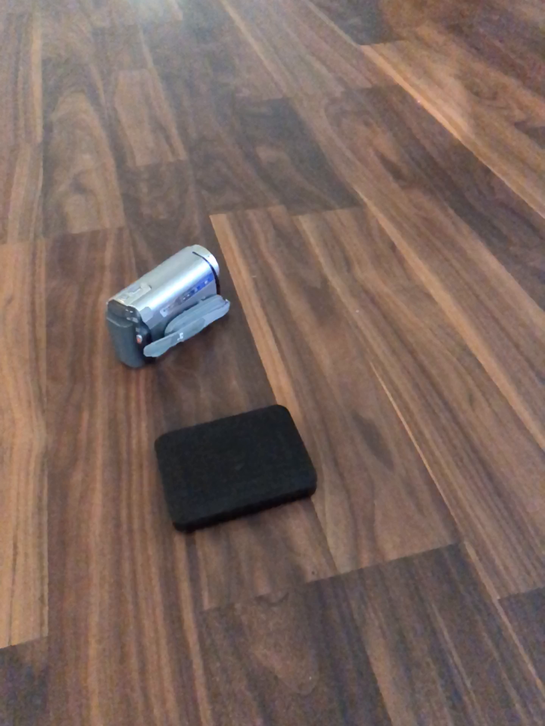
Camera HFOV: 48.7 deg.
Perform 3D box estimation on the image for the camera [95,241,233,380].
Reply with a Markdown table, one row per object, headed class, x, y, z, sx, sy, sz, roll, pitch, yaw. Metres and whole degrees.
| class | x | y | z | sx | sy | sz | roll | pitch | yaw |
| --- | --- | --- | --- | --- | --- | --- | --- | --- | --- |
| camera | -0.094 | -0.050 | 0.549 | 0.048 | 0.065 | 0.115 | 28 | 52 | 27 |
